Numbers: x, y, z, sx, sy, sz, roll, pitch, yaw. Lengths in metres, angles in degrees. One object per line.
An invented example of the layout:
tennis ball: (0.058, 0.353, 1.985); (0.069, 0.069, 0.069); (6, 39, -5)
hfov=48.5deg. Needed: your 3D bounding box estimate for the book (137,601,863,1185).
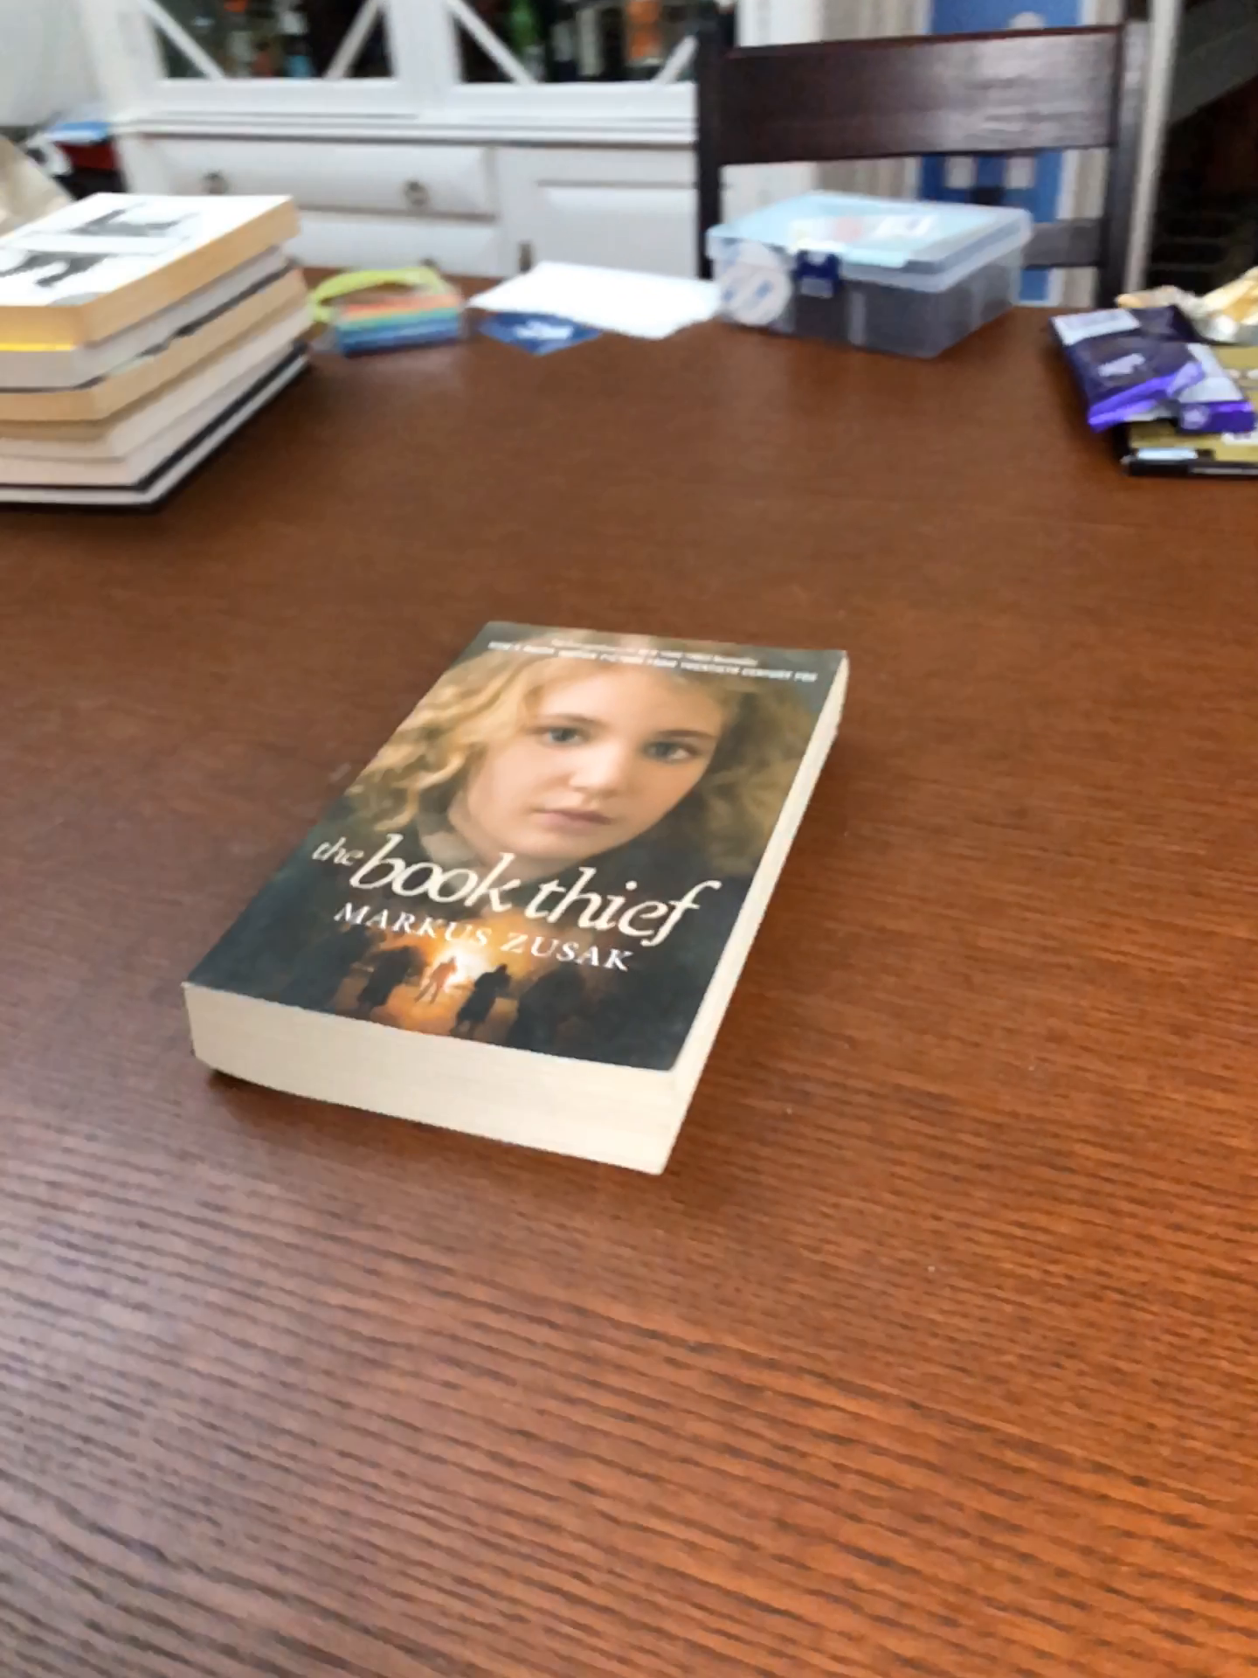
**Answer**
book: (-0.023, -0.003, 0.440); (0.150, 0.030, 0.221); (8, 39, 18)
